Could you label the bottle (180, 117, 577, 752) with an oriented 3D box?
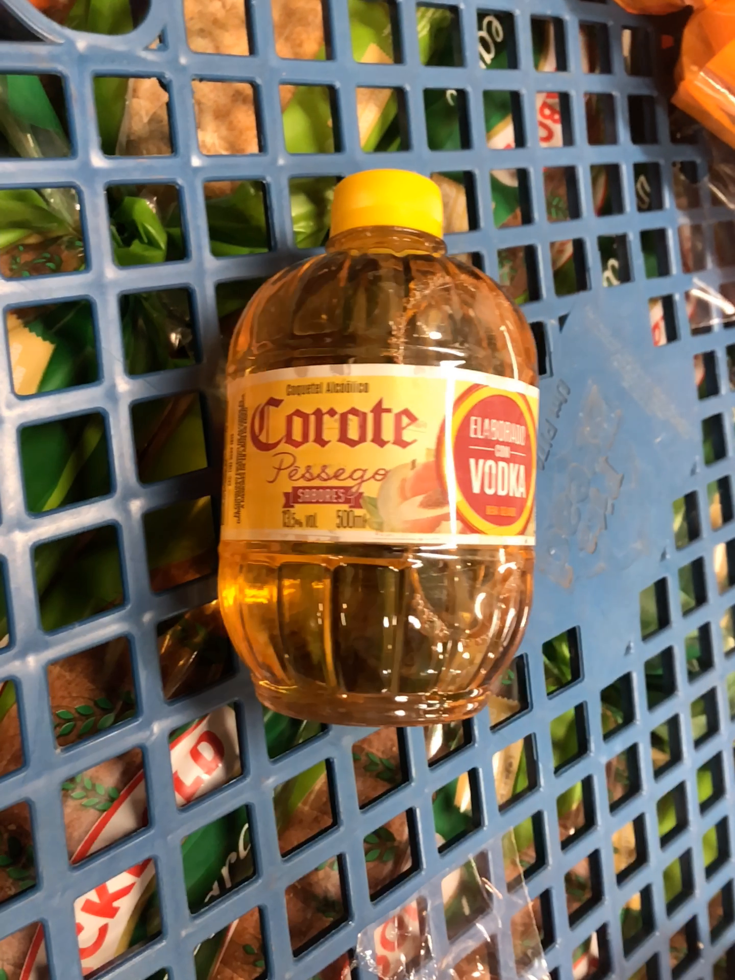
[{"bbox_3d":[0.003,-0.010,0.204,0.080,0.070,0.130,1,87,-1],"label":"bottle"}]
